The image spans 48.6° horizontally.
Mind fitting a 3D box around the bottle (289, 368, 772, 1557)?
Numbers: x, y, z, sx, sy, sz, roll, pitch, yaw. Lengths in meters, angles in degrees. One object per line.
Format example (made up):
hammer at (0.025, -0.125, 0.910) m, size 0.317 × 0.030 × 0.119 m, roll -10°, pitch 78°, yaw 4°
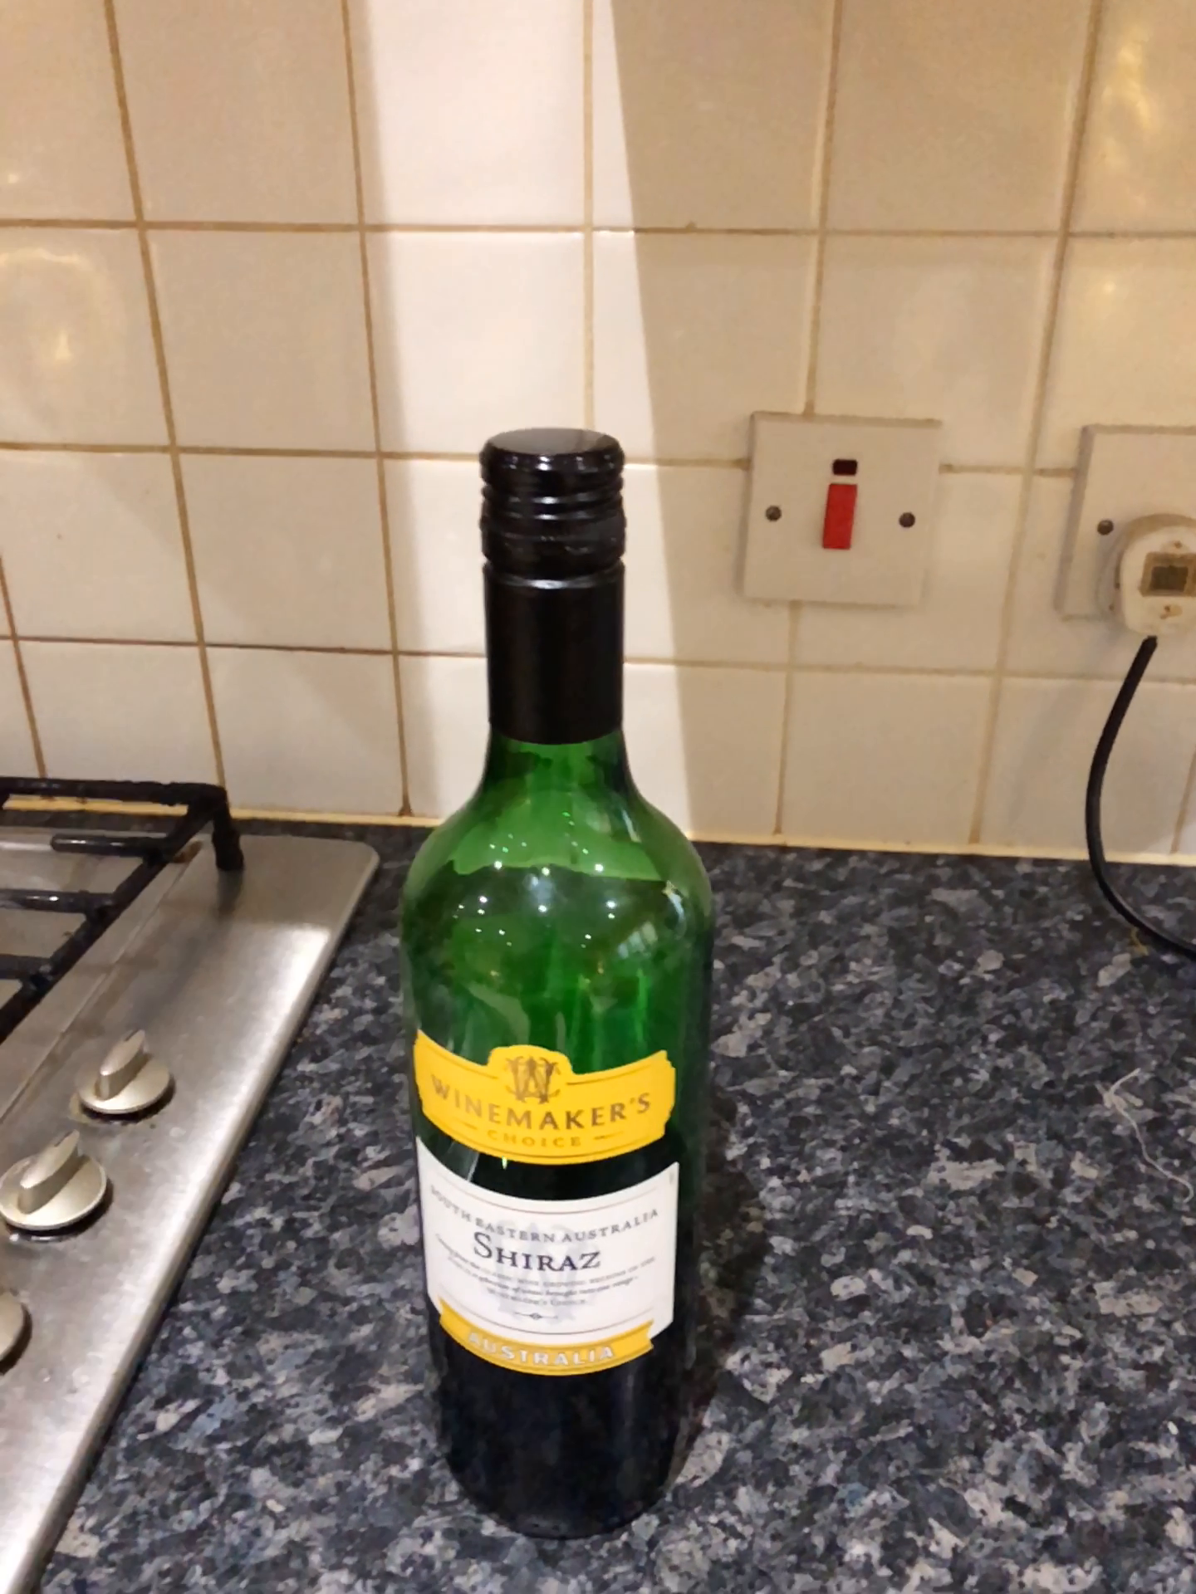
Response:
bottle at (-0.008, 0.050, 0.315) m, size 0.080 × 0.278 × 0.081 m, roll 0°, pitch 27°, yaw 0°
